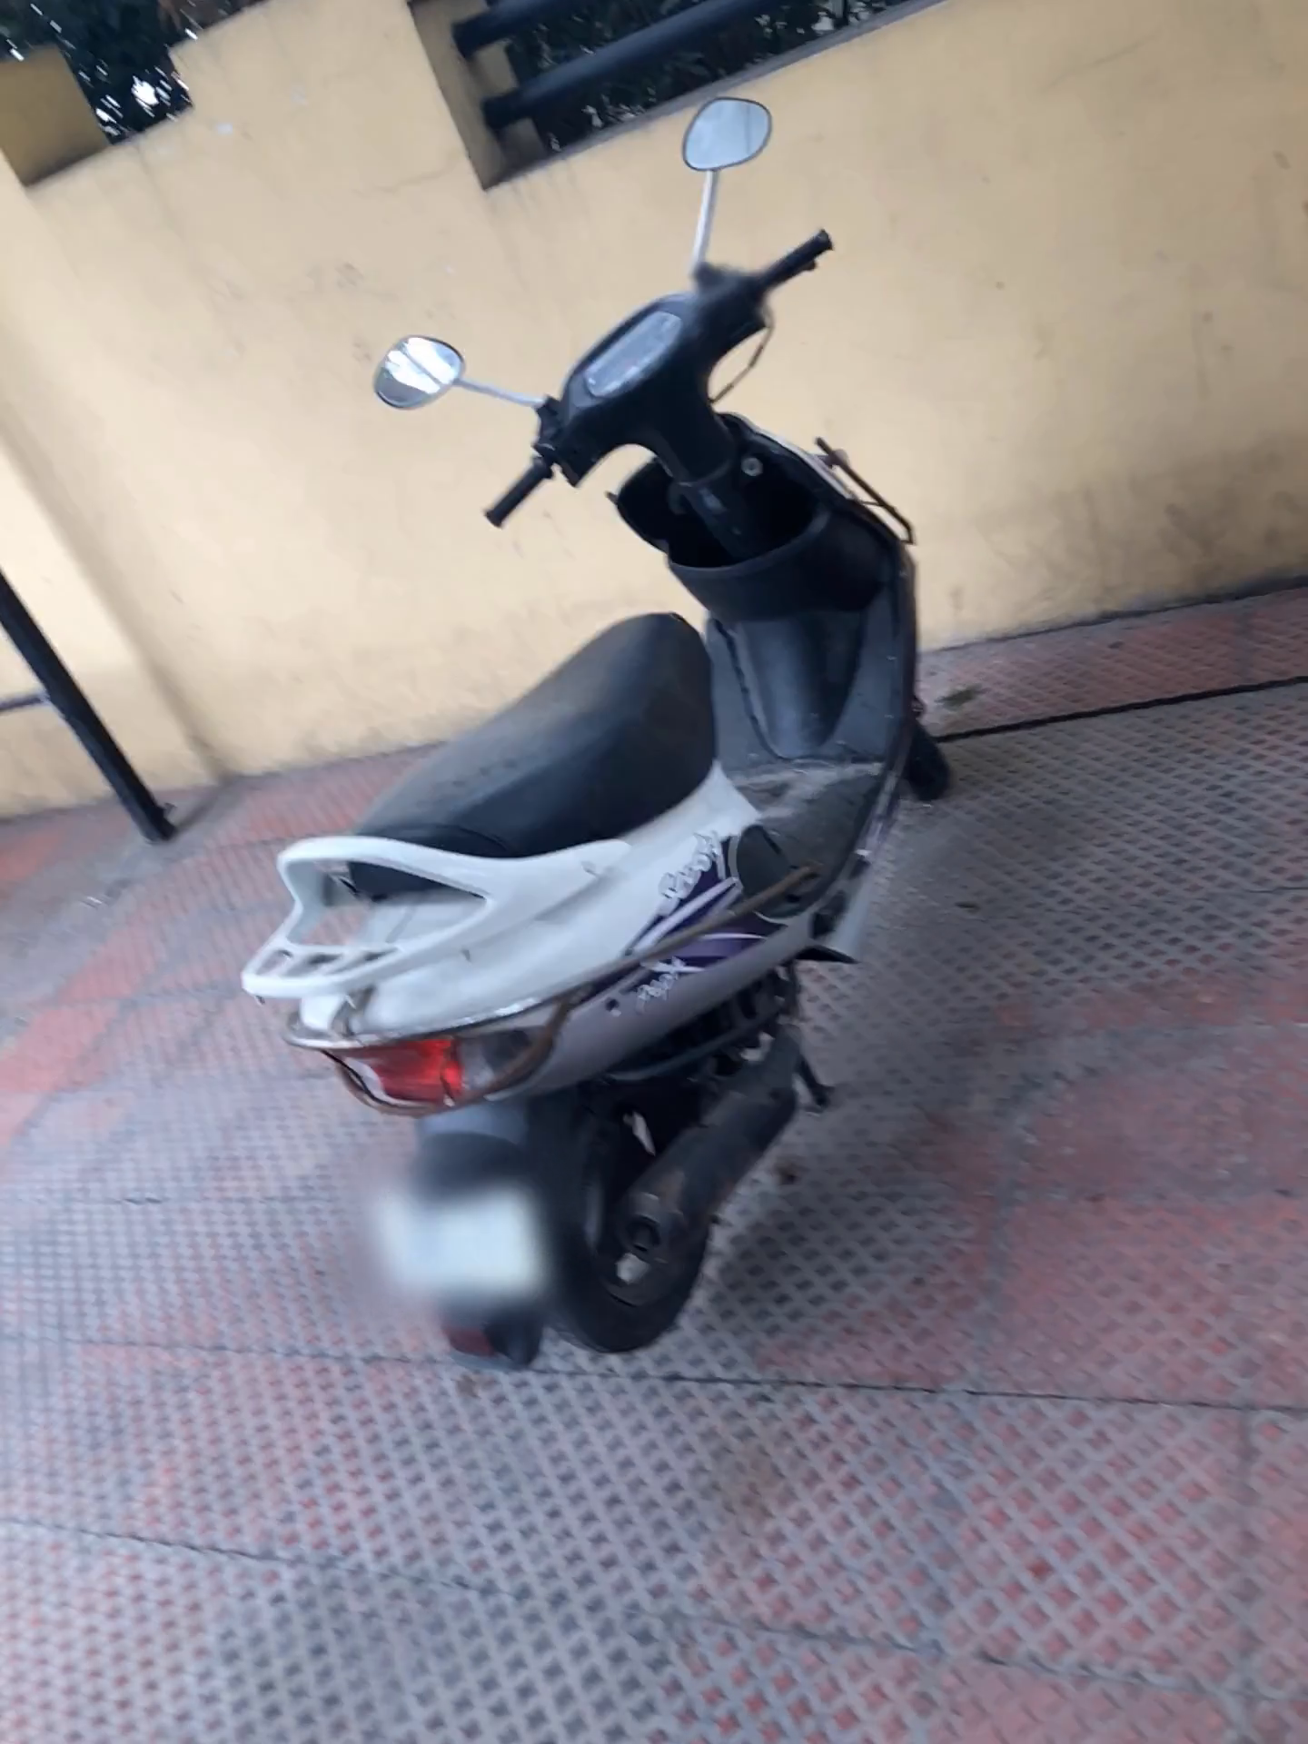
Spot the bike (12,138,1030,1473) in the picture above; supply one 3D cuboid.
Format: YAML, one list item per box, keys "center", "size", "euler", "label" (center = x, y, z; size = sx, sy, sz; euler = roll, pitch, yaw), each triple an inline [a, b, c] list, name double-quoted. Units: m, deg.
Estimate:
- center: [0.033, -0.179, 2.073]
  size: [0.600, 1.081, 1.478]
  euler: [-7, 37, 29]
  label: "bike"
